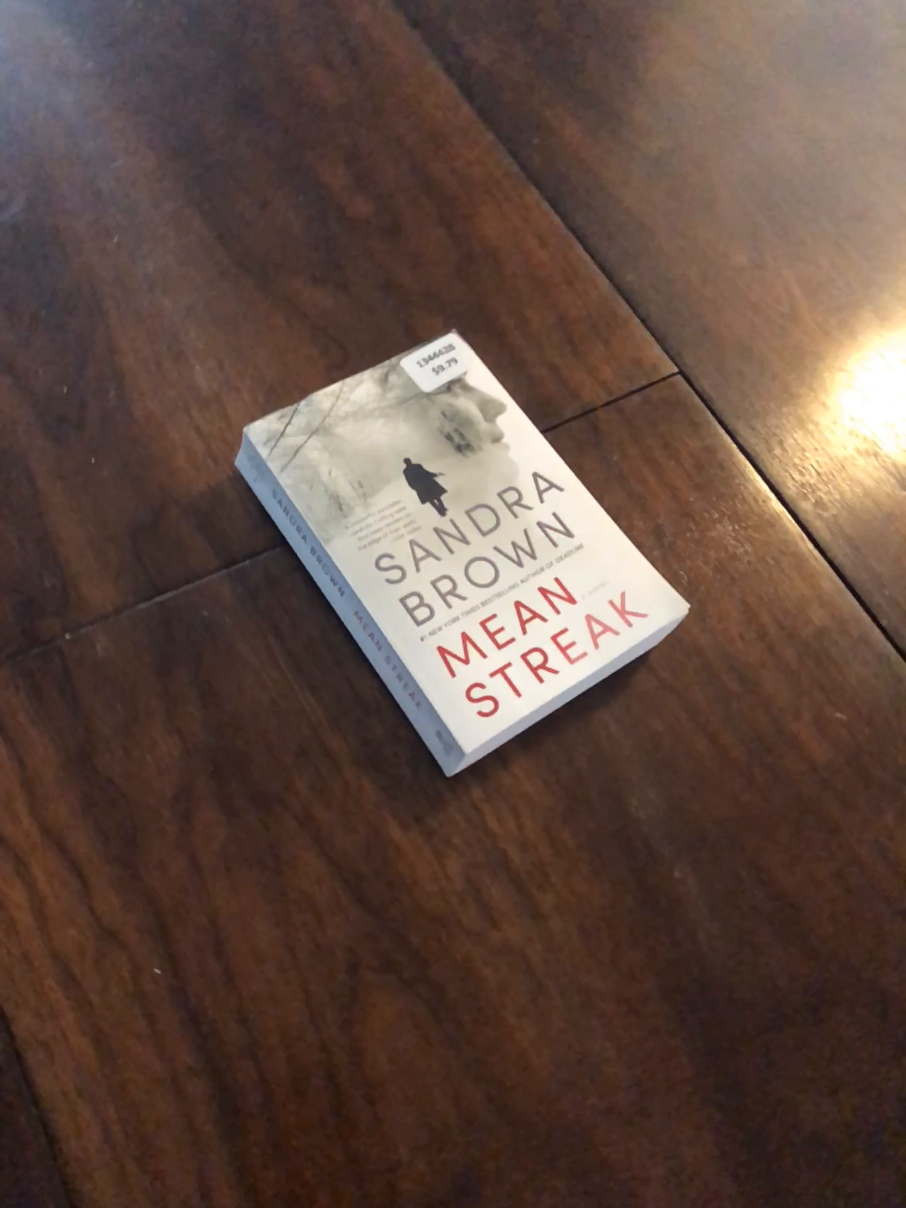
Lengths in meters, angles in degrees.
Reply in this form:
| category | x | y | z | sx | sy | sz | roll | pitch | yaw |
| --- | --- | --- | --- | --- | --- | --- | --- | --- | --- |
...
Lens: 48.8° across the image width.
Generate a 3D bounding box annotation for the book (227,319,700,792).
| category | x | y | z | sx | sy | sz | roll | pitch | yaw |
| --- | --- | --- | --- | --- | --- | --- | --- | --- | --- |
| book | 0.002 | -0.033 | 0.496 | 0.137 | 0.030 | 0.207 | -30 | 72 | -18 |
